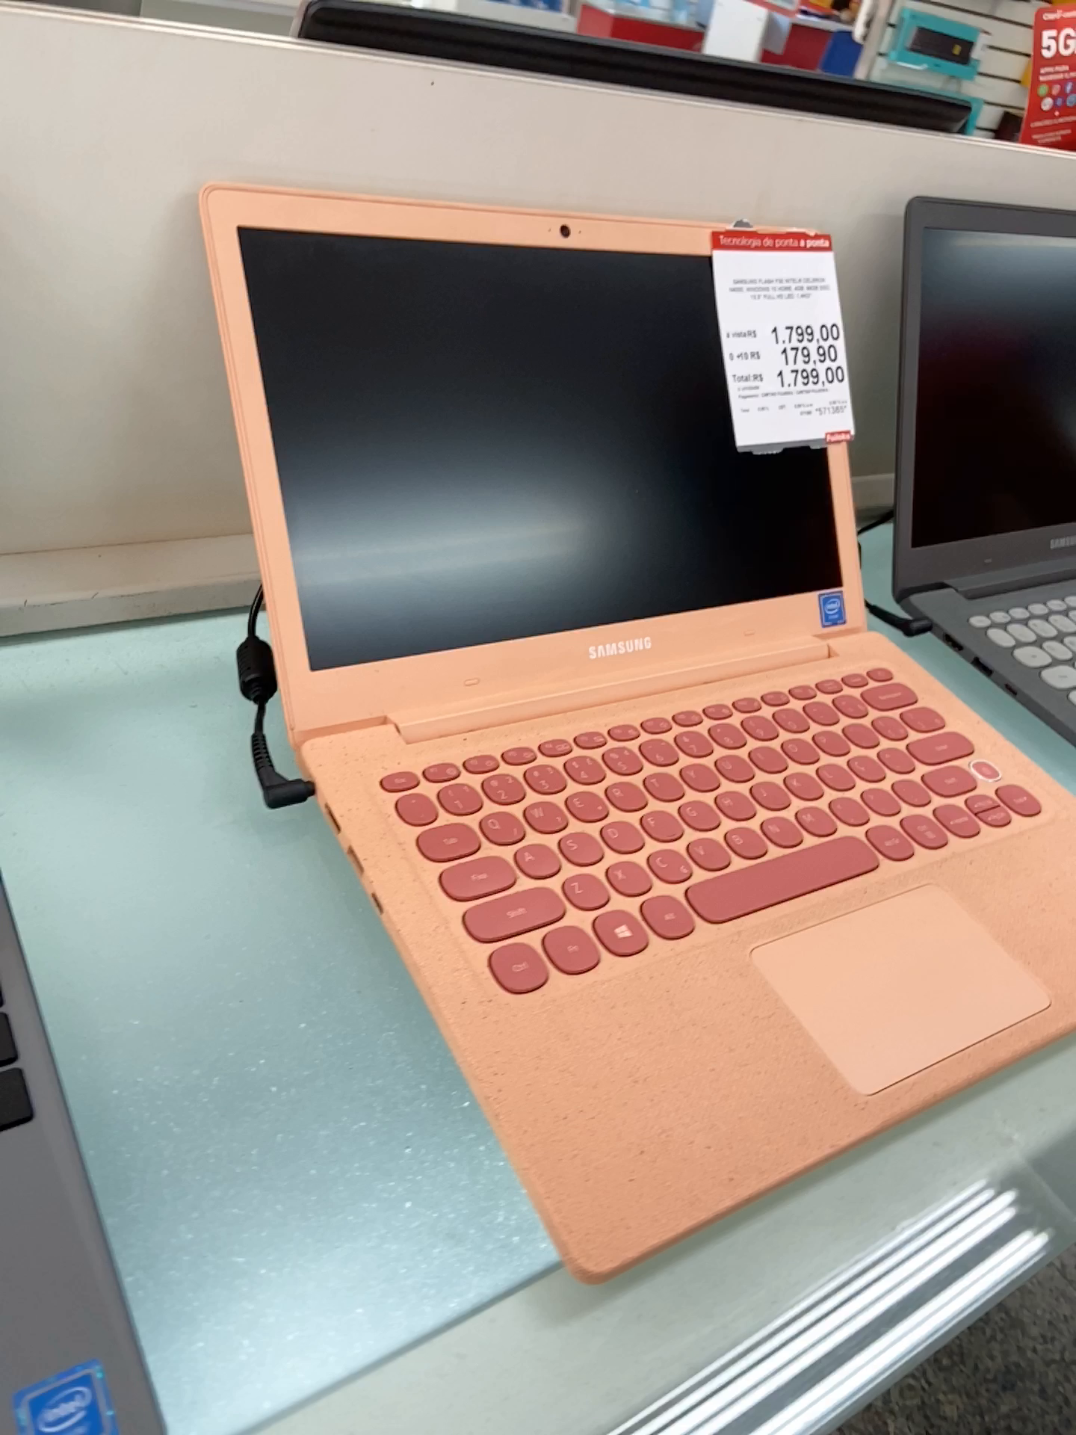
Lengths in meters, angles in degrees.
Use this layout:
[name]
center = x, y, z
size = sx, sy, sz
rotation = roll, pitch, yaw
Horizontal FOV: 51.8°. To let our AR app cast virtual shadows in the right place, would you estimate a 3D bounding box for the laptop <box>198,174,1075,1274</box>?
[laptop]
center = 0.082, -0.058, 0.442
size = 0.330, 0.160, 0.359
rotation = -11, 45, -30
